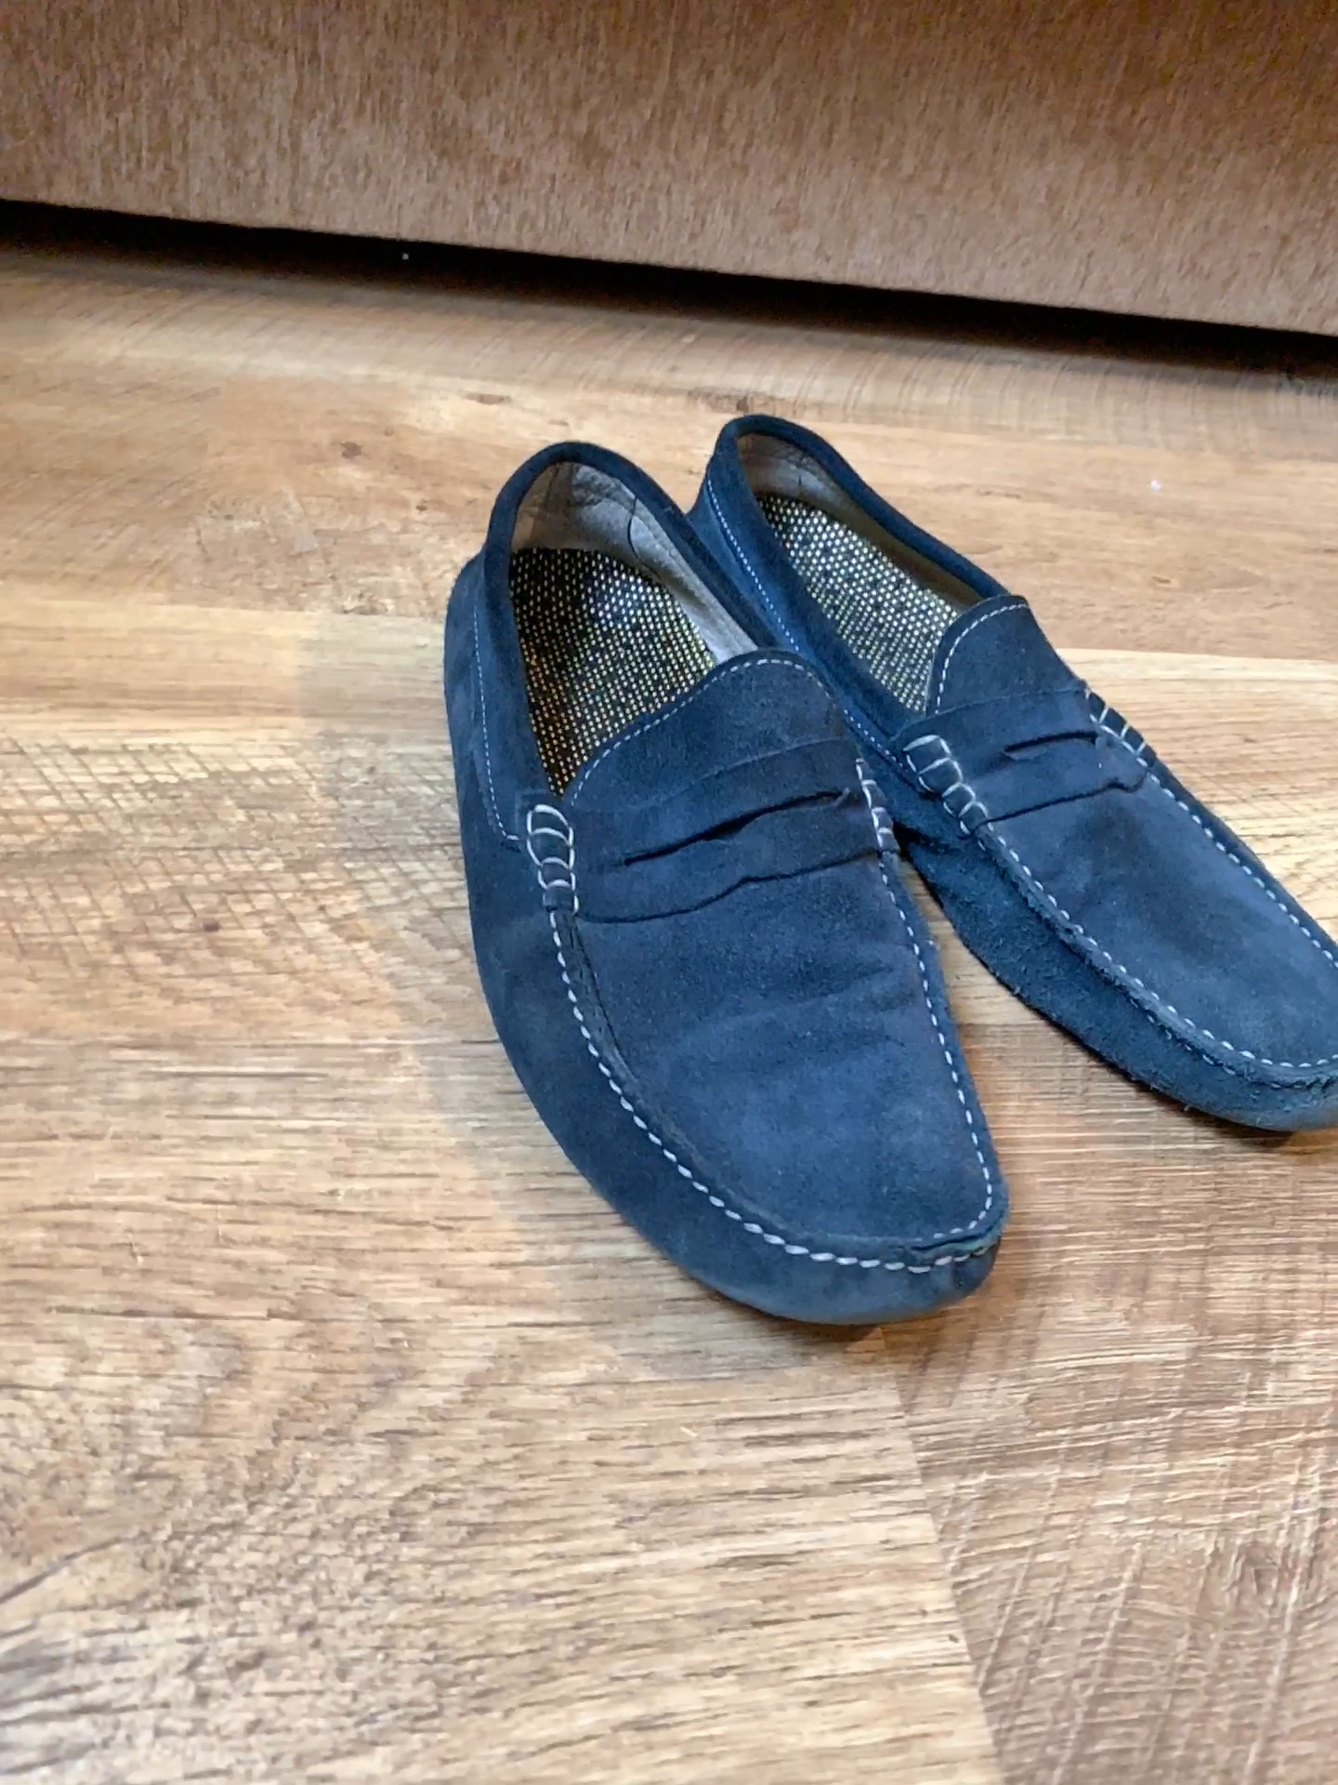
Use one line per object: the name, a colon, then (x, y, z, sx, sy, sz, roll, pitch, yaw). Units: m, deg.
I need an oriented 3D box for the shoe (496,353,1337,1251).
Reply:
shoe: (0.072, -0.053, 0.384, 0.110, 0.070, 0.291, -19, 50, -29)

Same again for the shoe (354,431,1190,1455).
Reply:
shoe: (-0.004, -0.019, 0.337, 0.100, 0.070, 0.271, -7, 44, -19)
